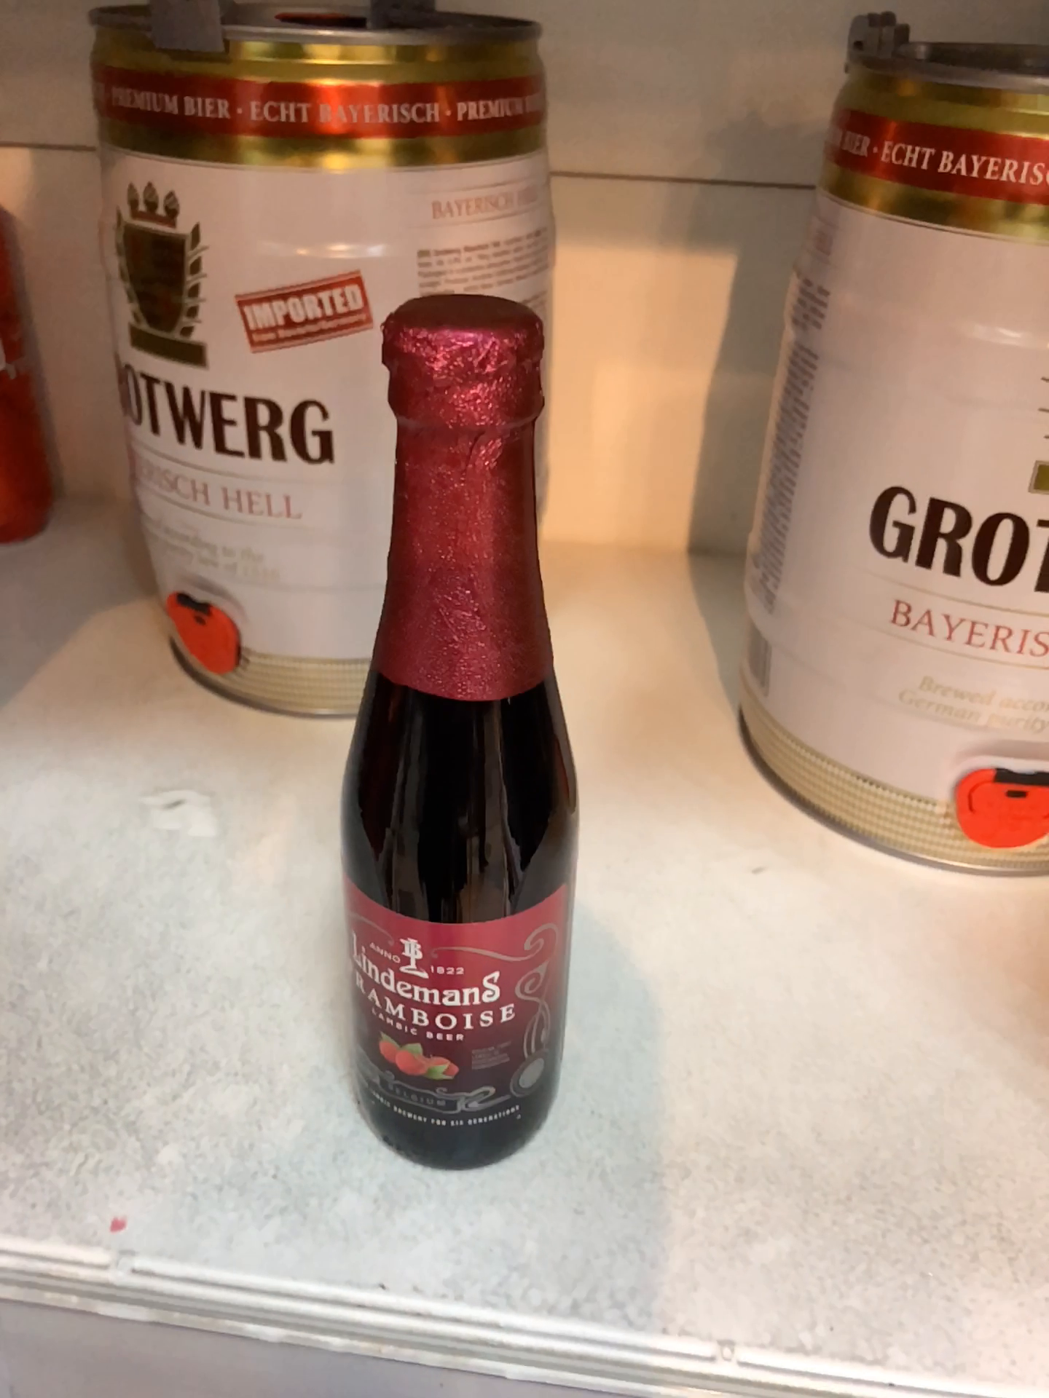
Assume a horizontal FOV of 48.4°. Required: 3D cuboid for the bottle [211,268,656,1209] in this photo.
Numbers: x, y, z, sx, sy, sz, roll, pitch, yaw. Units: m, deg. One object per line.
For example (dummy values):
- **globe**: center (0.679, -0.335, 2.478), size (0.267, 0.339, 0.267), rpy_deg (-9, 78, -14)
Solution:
- **bottle**: center (-0.015, 0.018, 0.257), size (0.058, 0.199, 0.058), rpy_deg (1, 33, -1)
